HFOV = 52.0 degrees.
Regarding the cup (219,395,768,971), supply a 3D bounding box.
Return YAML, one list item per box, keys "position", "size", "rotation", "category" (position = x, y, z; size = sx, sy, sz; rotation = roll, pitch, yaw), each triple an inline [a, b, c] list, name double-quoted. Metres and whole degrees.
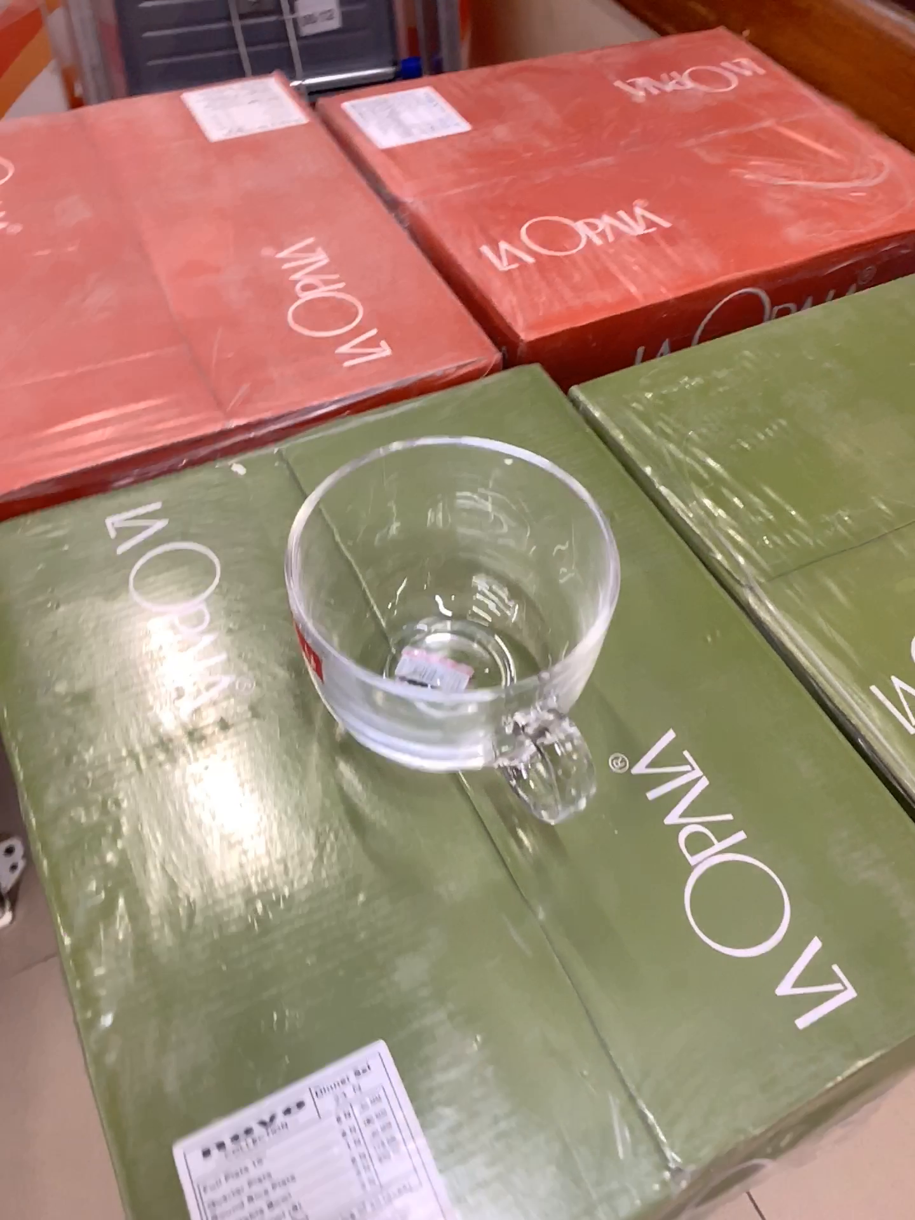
- position: [0.004, 0.019, 0.322]
  size: [0.110, 0.090, 0.140]
  rotation: [-24, 58, -20]
  category: "cup"
